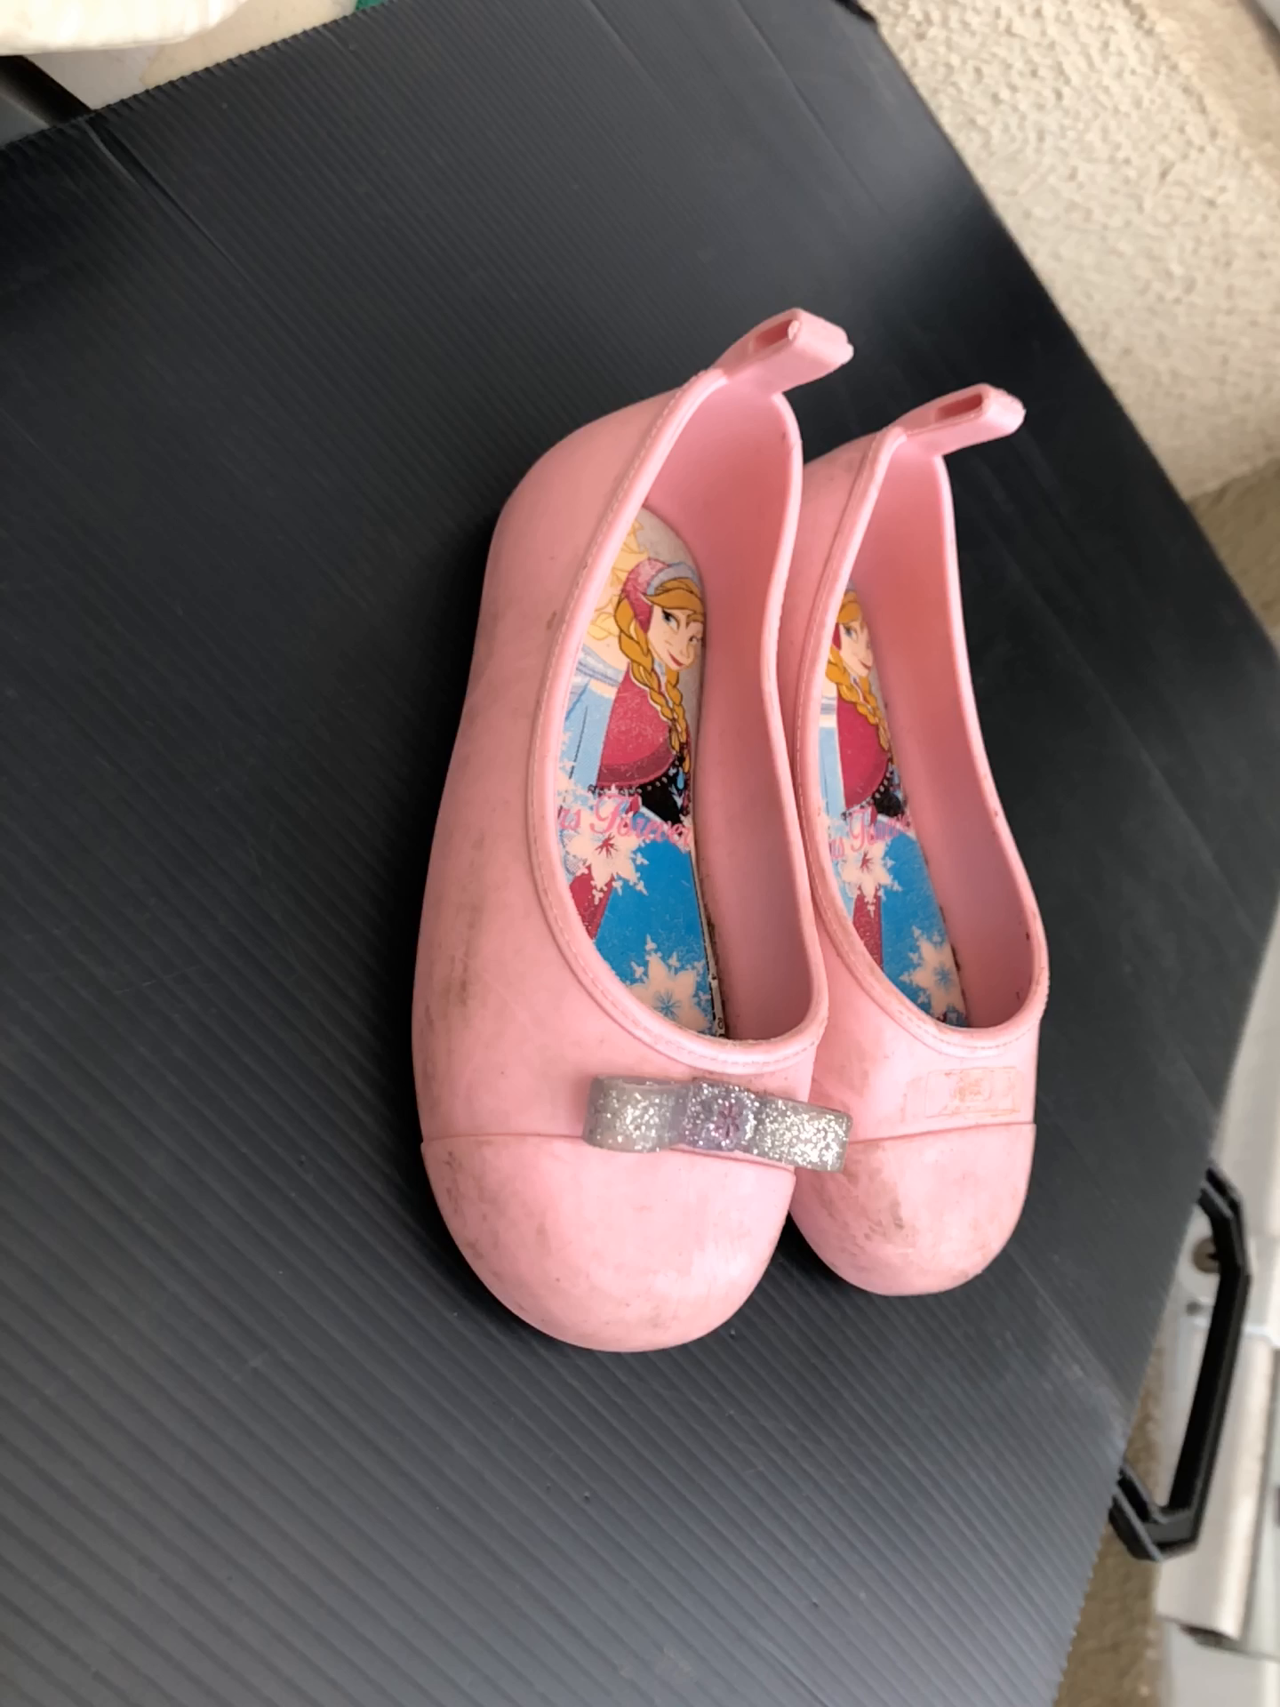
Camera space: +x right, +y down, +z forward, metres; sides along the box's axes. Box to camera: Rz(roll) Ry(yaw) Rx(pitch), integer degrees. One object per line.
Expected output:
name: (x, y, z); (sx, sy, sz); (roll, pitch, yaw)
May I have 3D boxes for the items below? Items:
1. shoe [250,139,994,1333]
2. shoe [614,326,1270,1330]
shoe: (-0.002, -0.009, 0.226); (0.078, 0.070, 0.160); (16, 66, -39)
shoe: (0.053, 0.002, 0.269); (0.078, 0.070, 0.160); (9, 71, -41)
